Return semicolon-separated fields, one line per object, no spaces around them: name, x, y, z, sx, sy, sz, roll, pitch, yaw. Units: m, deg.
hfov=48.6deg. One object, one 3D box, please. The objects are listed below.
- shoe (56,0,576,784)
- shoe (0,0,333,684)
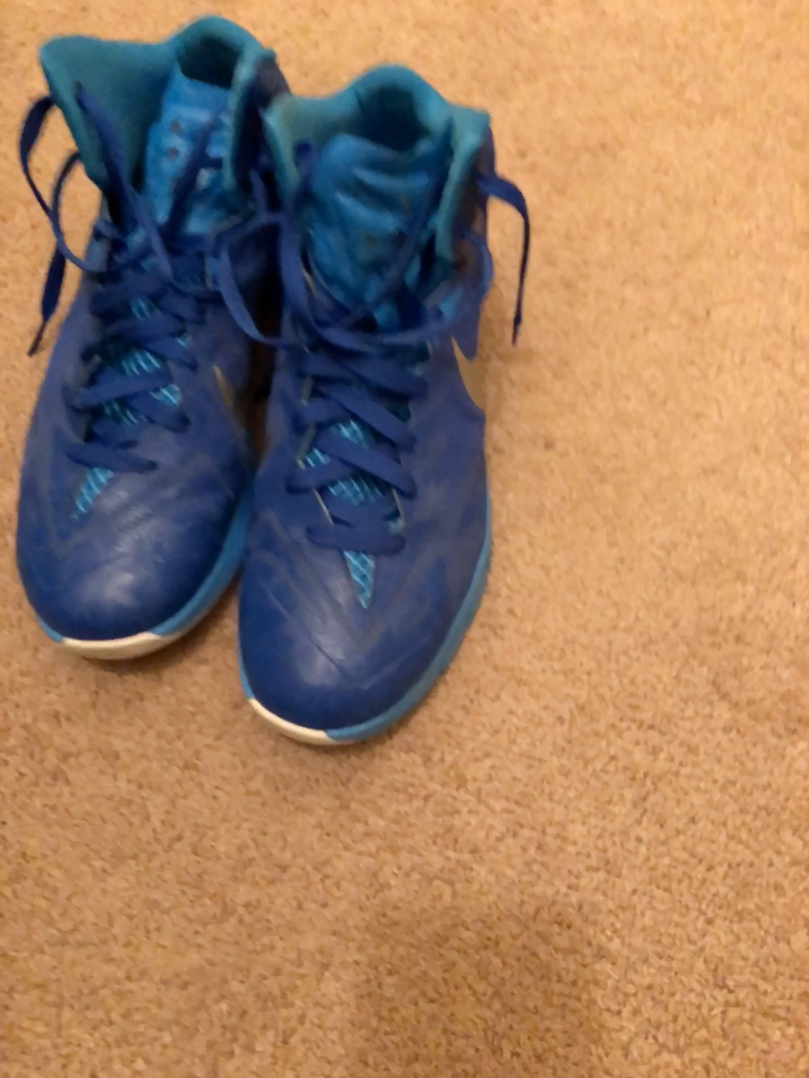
shoe;-0.015;-0.060;0.366;0.122;0.134;0.280;8;69;5
shoe;-0.128;-0.099;0.387;0.120;0.134;0.279;10;69;6
